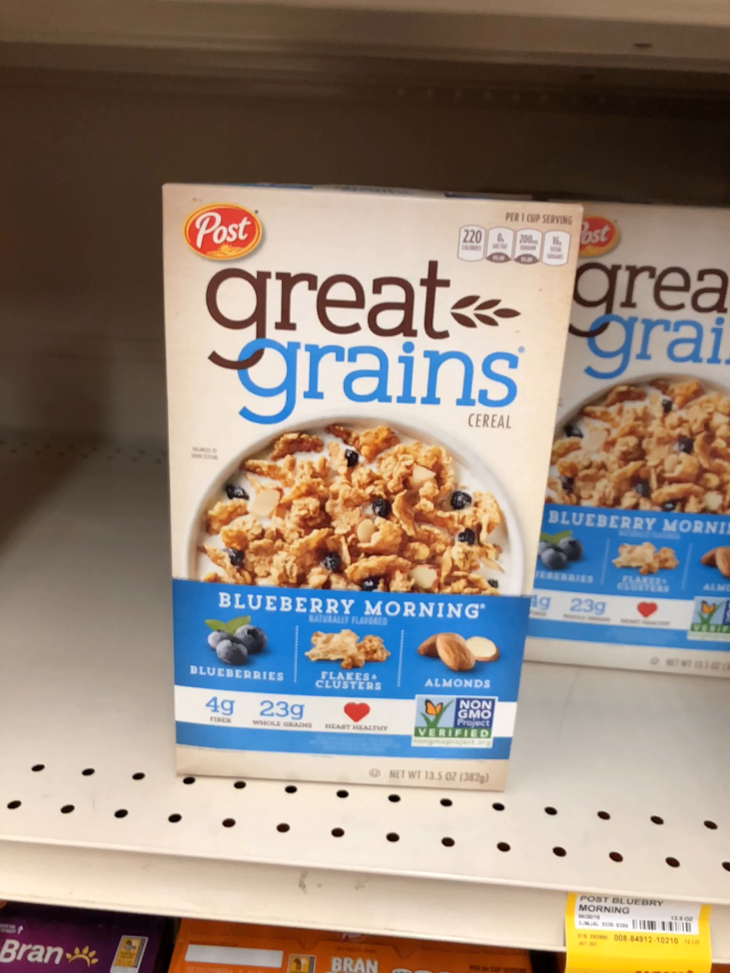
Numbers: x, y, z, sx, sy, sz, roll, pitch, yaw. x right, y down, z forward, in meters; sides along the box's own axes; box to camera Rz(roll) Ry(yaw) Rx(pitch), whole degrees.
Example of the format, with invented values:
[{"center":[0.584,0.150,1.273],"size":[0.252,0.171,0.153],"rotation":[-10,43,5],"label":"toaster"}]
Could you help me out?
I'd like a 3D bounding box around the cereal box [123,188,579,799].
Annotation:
[{"center":[-0.011,0.010,0.393],"size":[0.180,0.279,0.060],"rotation":[3,18,0],"label":"cereal box"}]
